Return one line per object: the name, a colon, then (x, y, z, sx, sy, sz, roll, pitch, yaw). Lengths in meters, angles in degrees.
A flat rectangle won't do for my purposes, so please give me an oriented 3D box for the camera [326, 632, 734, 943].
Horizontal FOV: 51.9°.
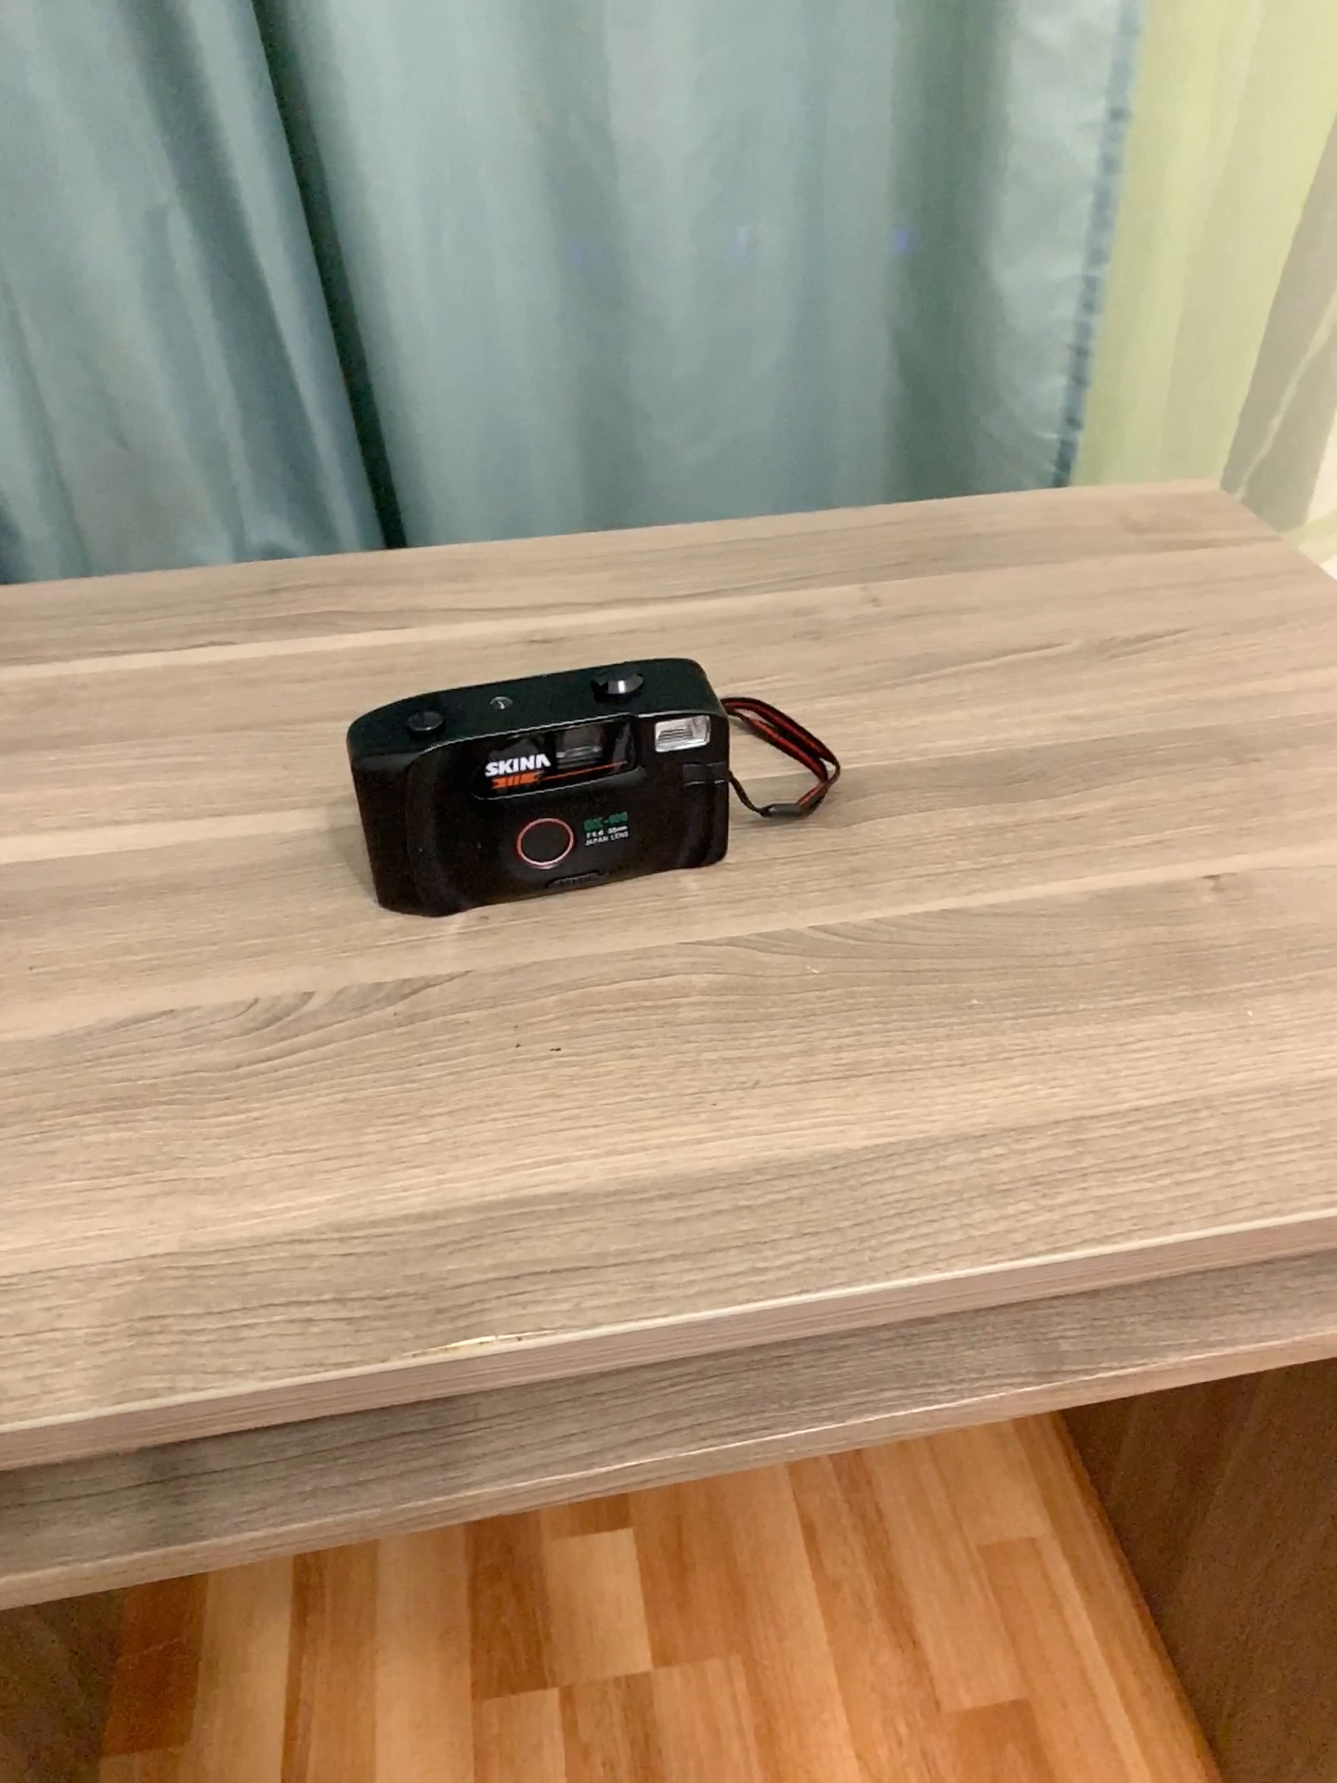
camera: (-0.044, -0.035, 0.450, 0.120, 0.069, 0.046, -11, 37, -14)
